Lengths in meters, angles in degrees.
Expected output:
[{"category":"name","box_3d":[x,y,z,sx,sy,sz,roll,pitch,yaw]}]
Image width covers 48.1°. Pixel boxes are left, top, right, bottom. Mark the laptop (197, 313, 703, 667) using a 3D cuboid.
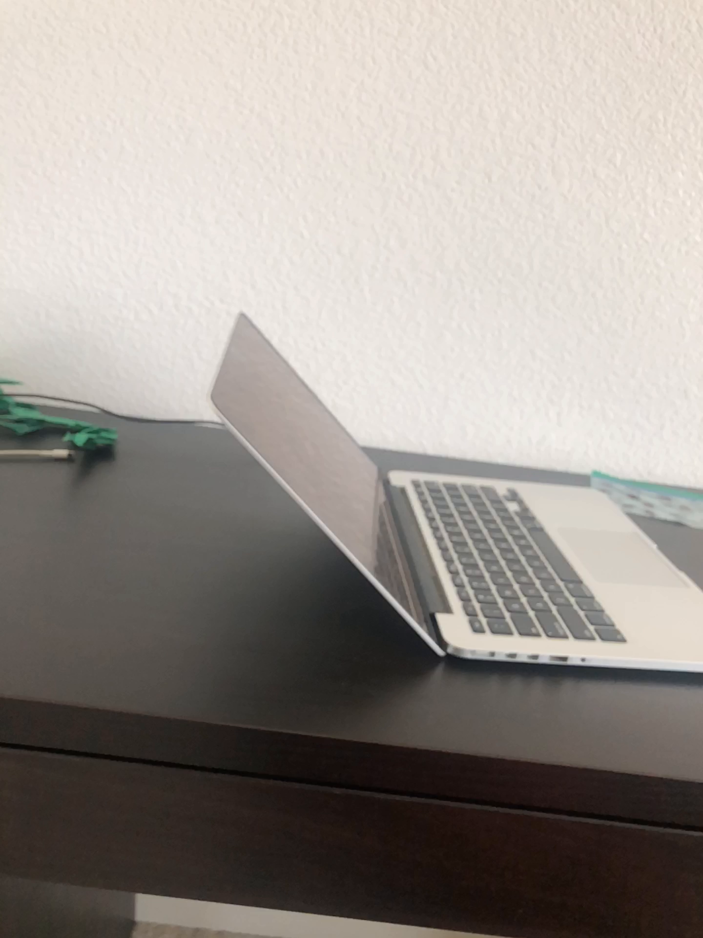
[{"category":"laptop","box_3d":[0.085,-0.008,0.605,0.362,0.133,0.310,5,19,-6]}]
